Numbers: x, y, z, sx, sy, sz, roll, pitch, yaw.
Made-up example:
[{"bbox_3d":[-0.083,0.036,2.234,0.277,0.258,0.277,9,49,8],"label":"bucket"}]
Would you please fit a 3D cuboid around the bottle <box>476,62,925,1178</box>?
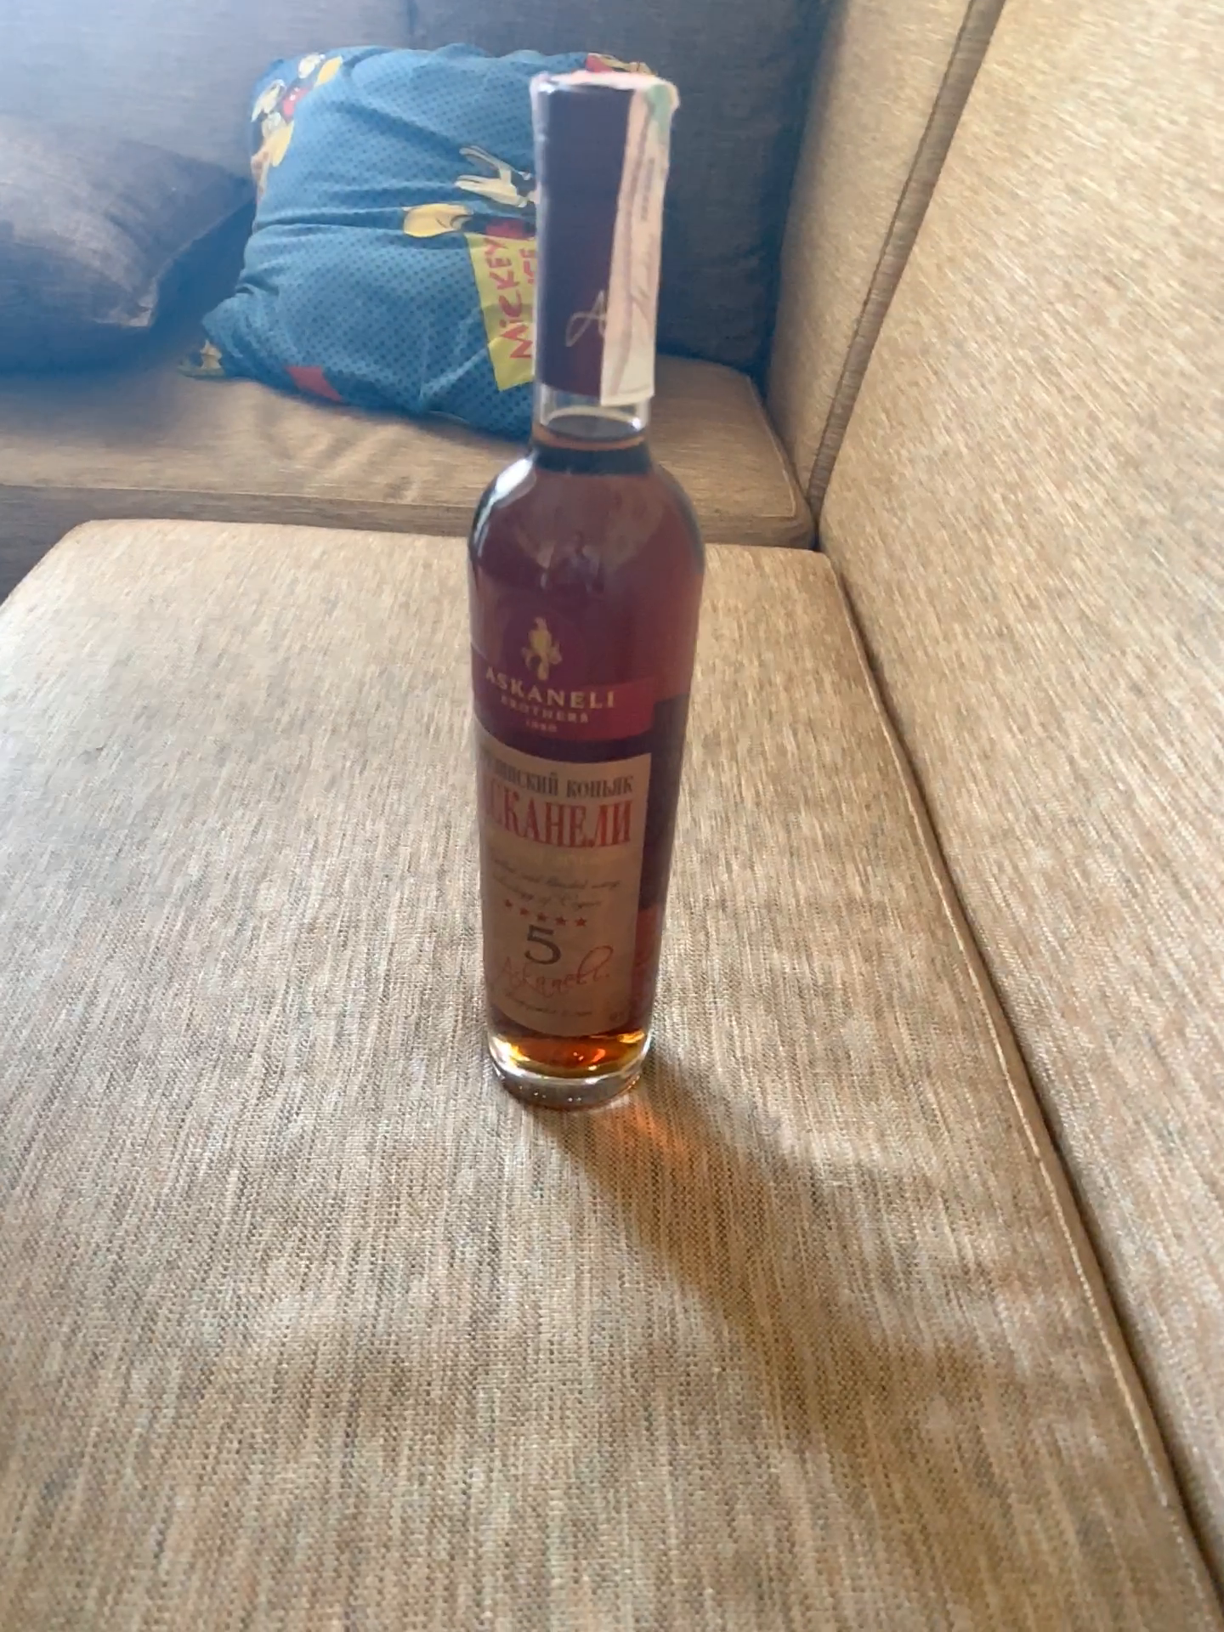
[{"bbox_3d":[0.012,-0.032,0.332,0.070,0.279,0.070,3,36,-2],"label":"bottle"}]
